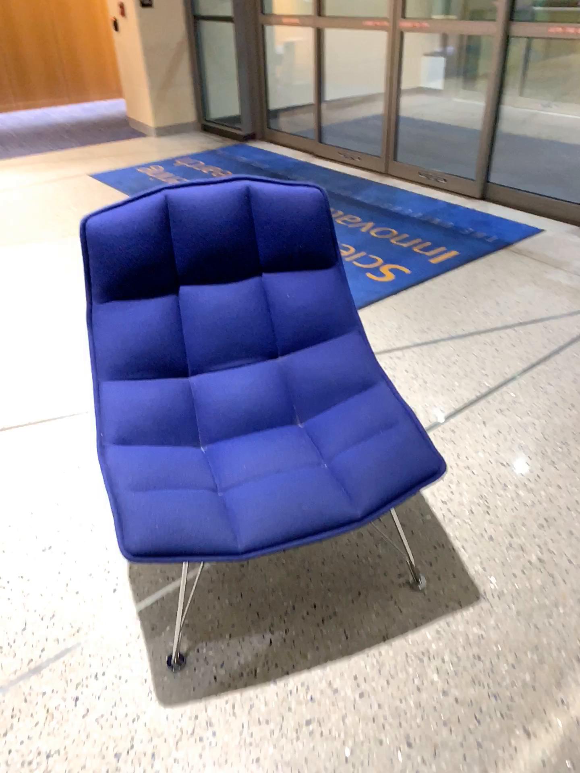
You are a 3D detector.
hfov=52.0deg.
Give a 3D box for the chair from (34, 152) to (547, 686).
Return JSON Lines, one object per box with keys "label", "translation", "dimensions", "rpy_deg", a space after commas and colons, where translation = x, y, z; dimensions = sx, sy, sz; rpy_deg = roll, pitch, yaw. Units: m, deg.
{"label": "chair", "translation": [-0.062, 0.006, 1.506], "dimensions": [0.855, 0.893, 0.801], "rpy_deg": [-12, 35, -14]}
